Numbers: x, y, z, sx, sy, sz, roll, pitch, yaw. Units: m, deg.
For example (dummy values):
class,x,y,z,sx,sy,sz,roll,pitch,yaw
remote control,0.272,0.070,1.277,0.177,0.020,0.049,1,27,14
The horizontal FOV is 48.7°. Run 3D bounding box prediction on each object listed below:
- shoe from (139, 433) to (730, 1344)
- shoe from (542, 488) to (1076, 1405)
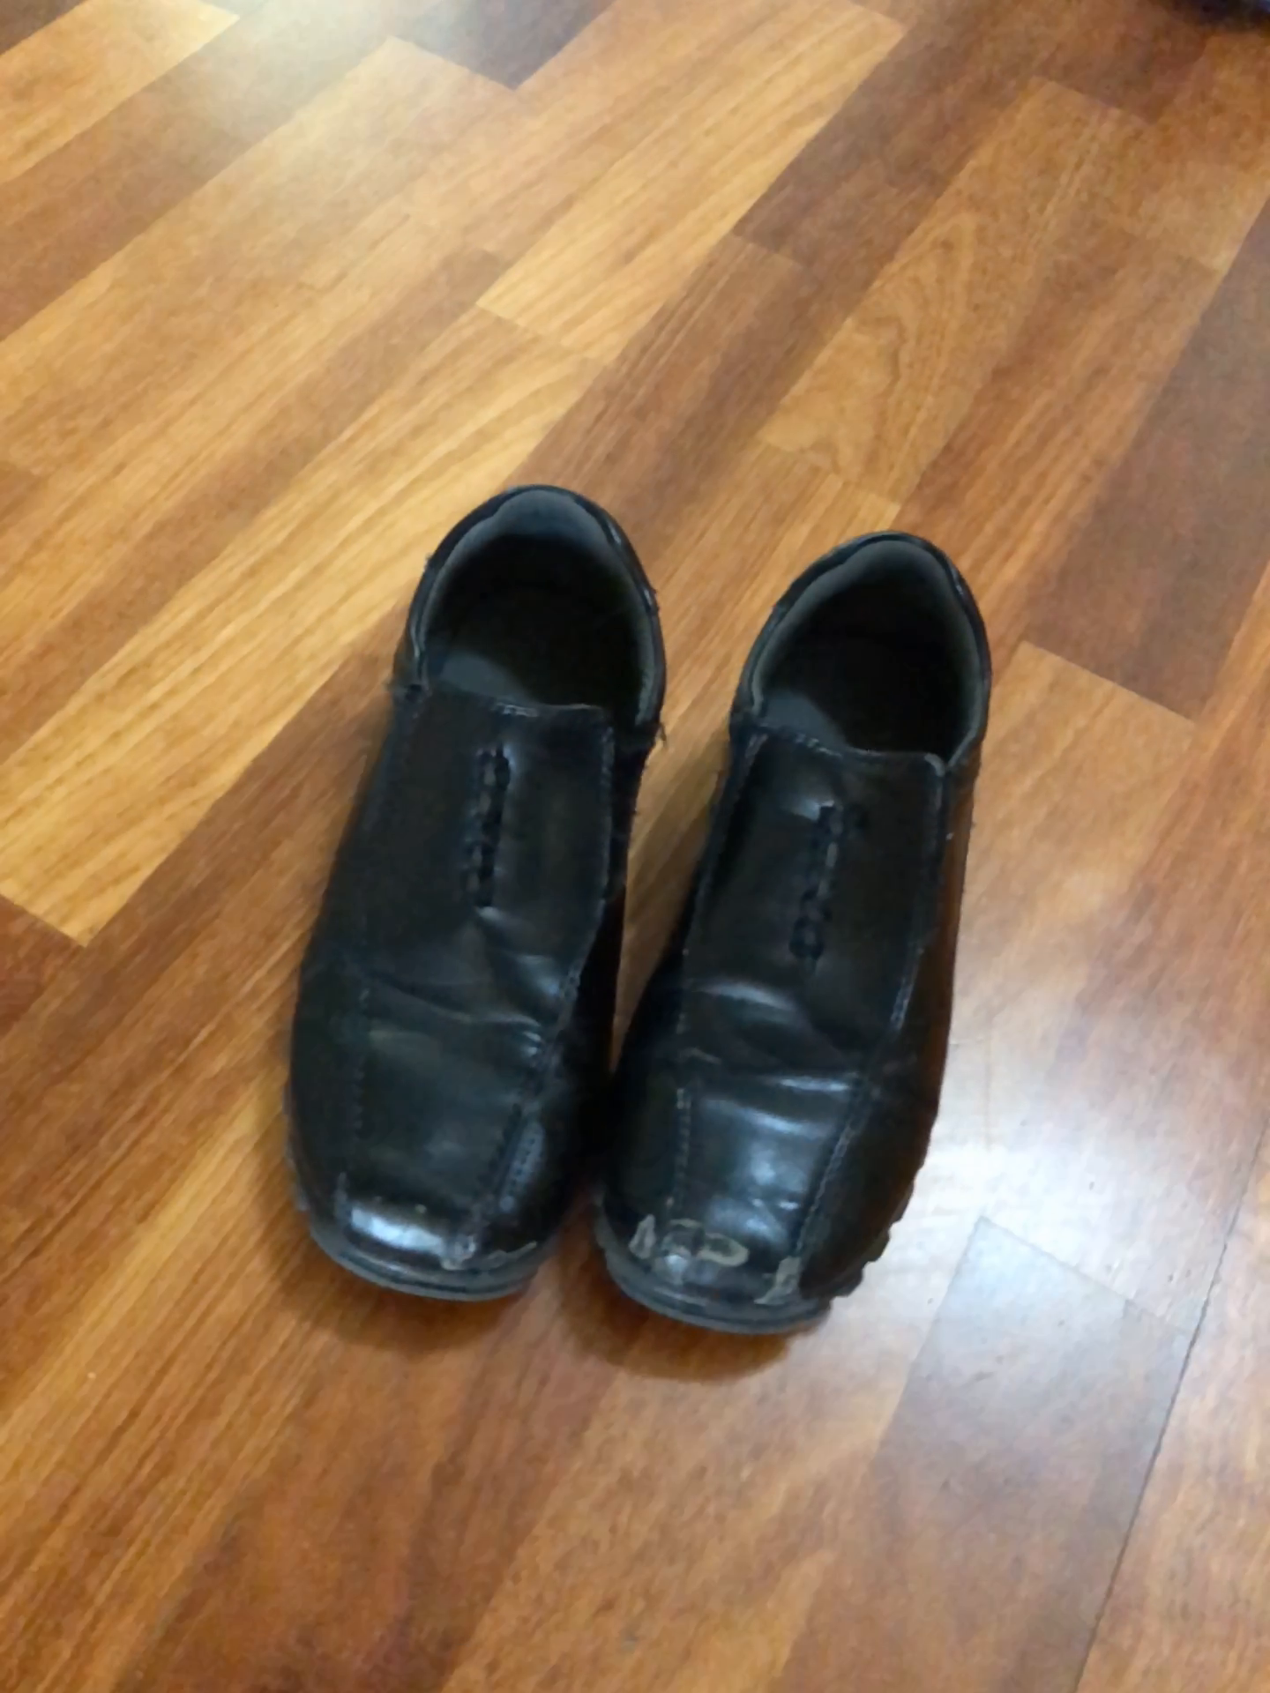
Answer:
class,x,y,z,sx,sy,sz,roll,pitch,yaw
shoe,-0.042,0.002,0.390,0.094,0.075,0.233,12,58,1
shoe,0.054,0.018,0.393,0.091,0.075,0.233,16,58,4
